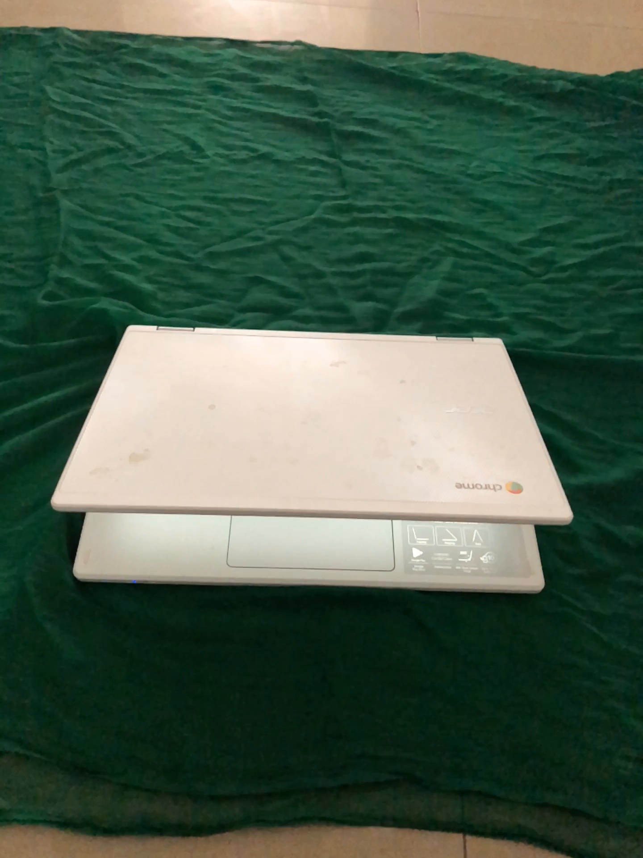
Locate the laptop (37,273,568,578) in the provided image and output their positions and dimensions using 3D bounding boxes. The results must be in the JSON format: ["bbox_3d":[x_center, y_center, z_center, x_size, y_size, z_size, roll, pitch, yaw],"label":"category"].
[{"bbox_3d":[-0.007,-0.009,0.458,0.281,0.065,0.194,1,53,0],"label":"laptop"}]
